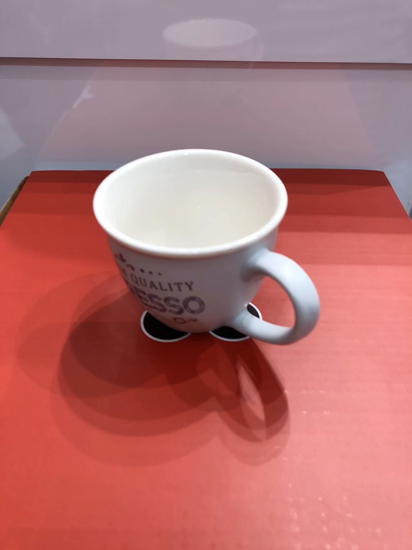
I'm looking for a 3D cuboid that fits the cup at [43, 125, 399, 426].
[{"bbox_3d":[0.002,-0.011,0.168,0.080,0.040,0.090,-29,49,-29],"label":"cup"}]
